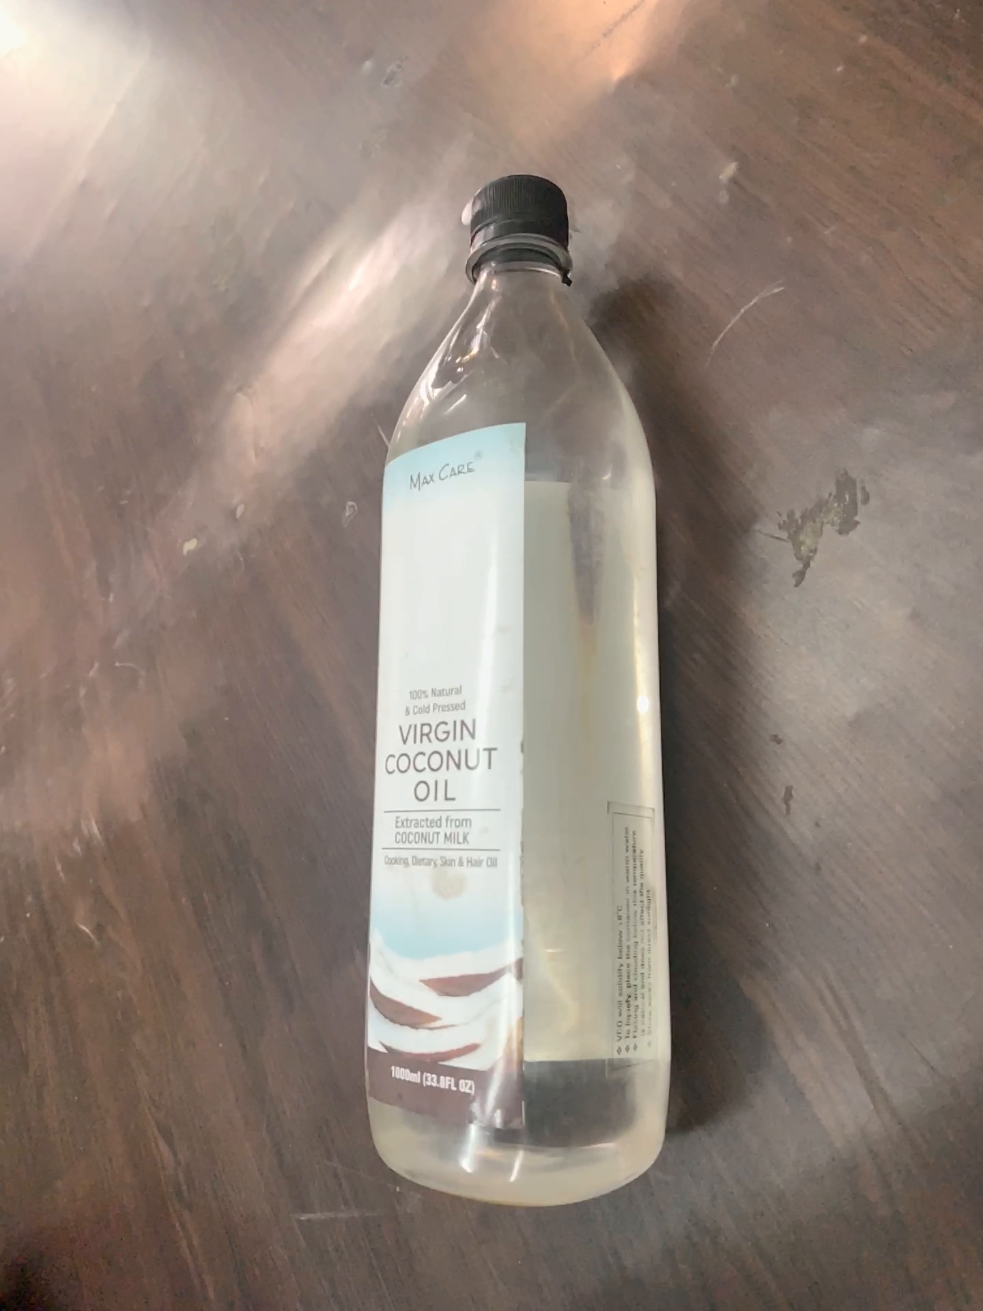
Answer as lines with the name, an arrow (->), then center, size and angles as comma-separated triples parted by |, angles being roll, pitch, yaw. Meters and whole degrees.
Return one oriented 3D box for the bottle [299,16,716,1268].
bottle -> 0.004, -0.009, 0.282 | 0.080, 0.070, 0.290 | -8, 77, 38
